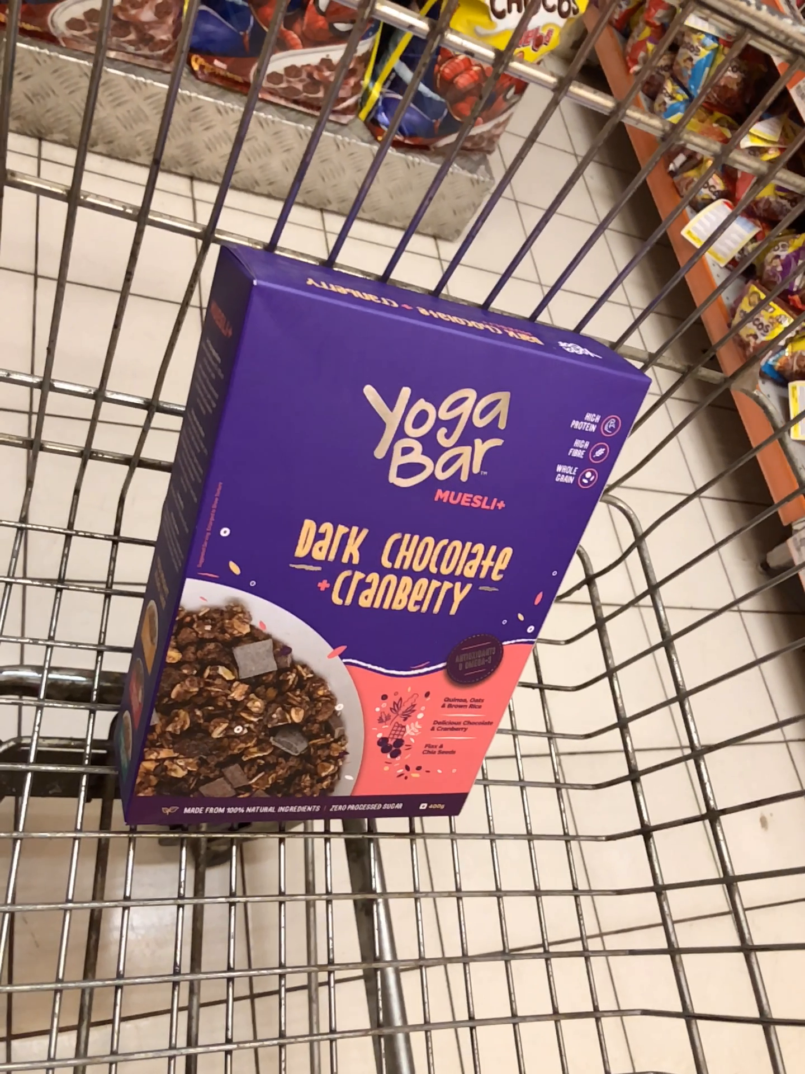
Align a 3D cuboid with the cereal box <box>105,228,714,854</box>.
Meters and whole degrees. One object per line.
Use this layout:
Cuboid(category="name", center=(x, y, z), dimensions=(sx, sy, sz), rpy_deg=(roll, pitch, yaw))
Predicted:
Cuboid(category="cereal box", center=(-0.007, 0.018, 0.366), dimensions=(0.180, 0.229, 0.060), rpy_deg=(7, 25, -26))
